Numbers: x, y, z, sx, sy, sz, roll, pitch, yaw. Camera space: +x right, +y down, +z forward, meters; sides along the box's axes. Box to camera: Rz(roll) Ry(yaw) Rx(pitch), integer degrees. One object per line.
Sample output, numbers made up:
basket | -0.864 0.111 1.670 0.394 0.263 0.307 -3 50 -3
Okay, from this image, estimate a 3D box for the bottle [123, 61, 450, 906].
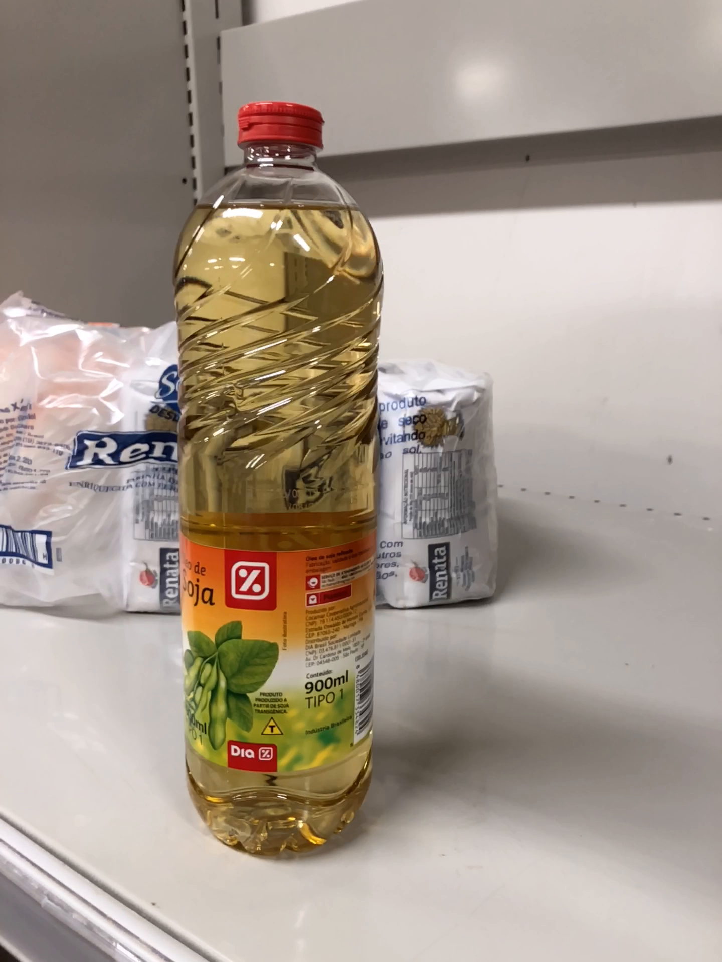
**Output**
bottle | -0.026 0.003 0.289 0.080 0.259 0.070 14 19 43
